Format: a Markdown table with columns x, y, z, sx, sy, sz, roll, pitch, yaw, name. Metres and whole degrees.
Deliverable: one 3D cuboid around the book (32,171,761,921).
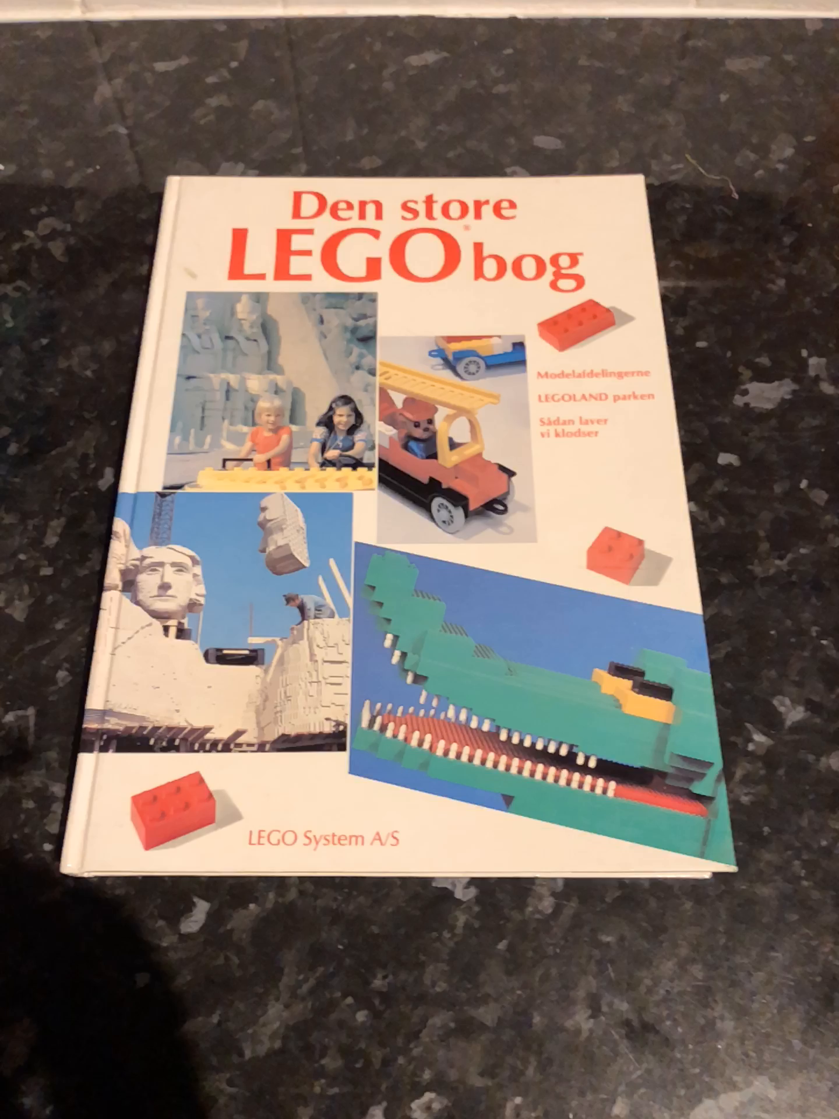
| x | y | z | sx | sy | sz | roll | pitch | yaw | name |
| --- | --- | --- | --- | --- | --- | --- | --- | --- | --- |
| -0.006 | -0.024 | 0.341 | 0.210 | 0.030 | 0.291 | 0 | 65 | -1 | book |
